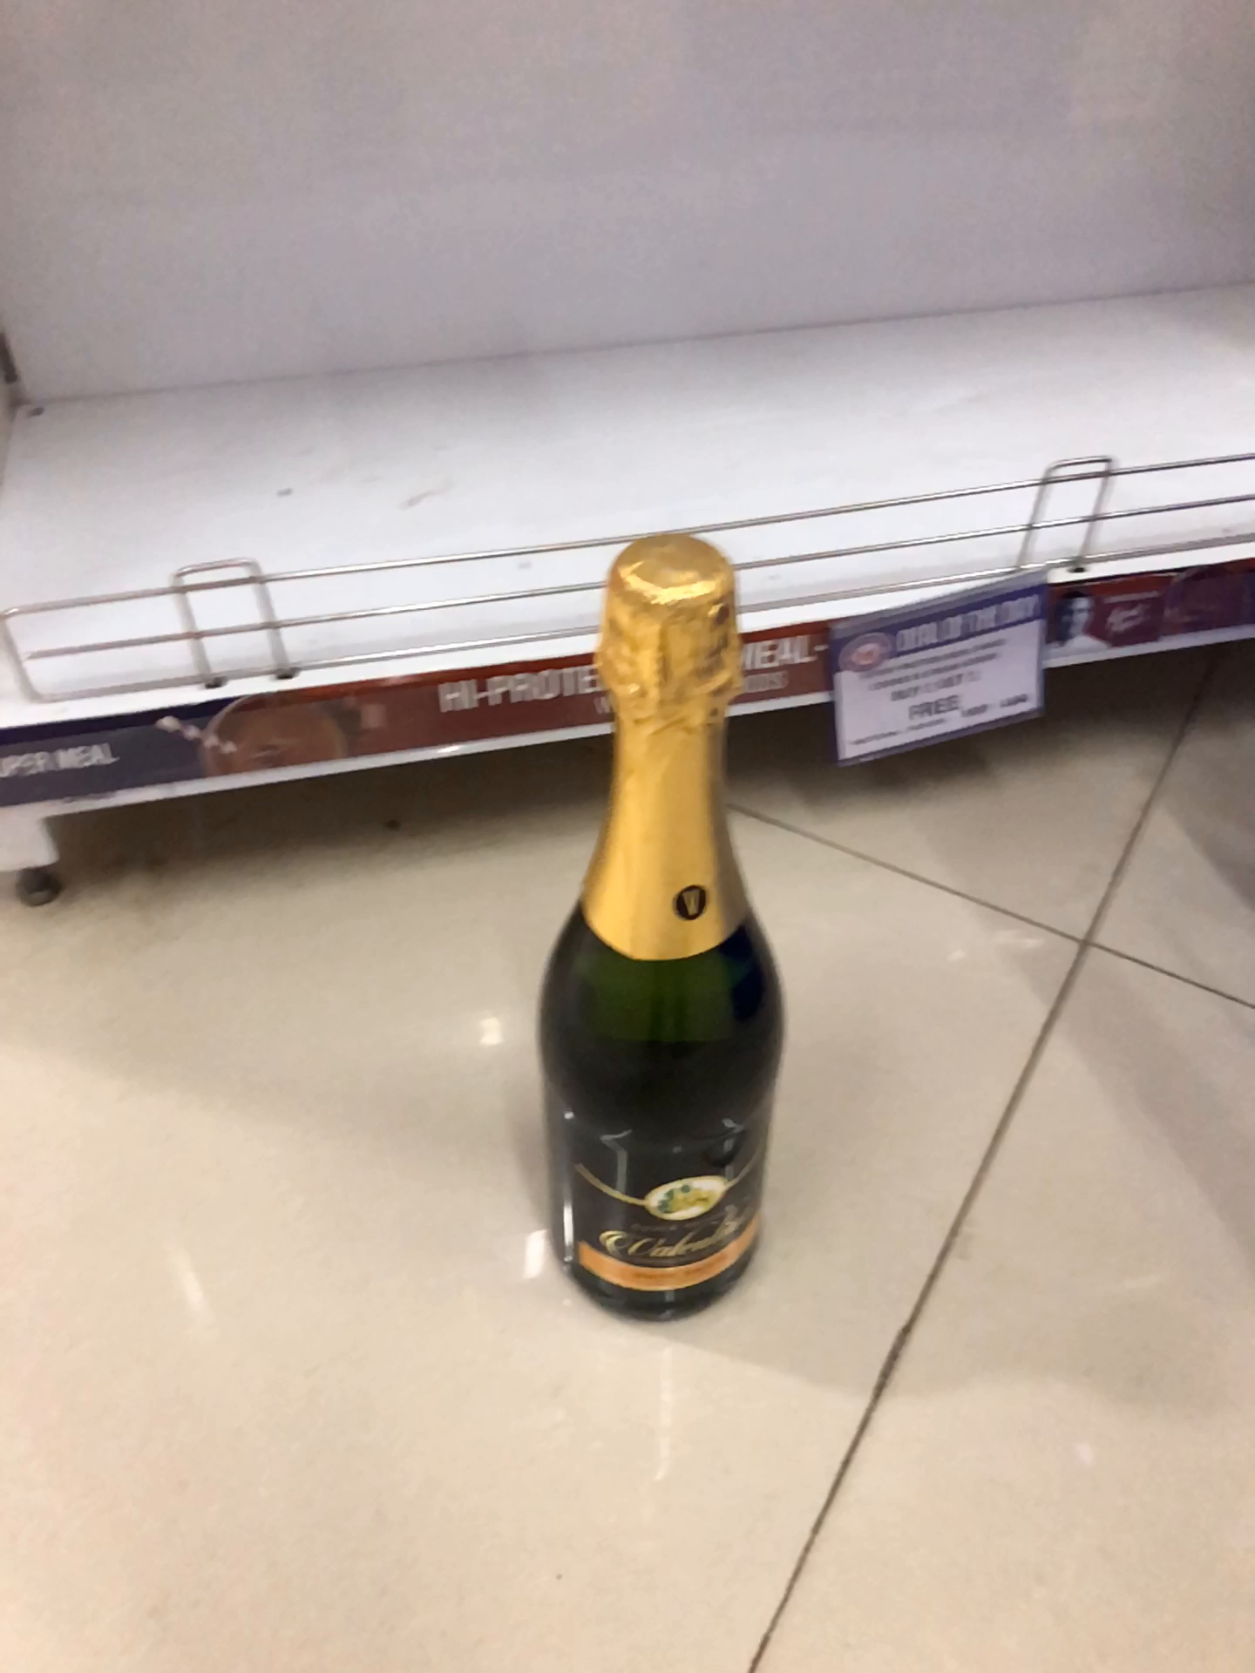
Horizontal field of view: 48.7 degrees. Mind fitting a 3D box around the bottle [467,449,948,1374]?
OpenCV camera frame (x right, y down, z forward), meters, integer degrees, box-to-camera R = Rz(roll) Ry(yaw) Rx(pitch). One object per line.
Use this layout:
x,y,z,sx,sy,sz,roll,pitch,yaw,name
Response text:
0.015,0.044,0.430,0.090,0.298,0.090,0,43,0,bottle
